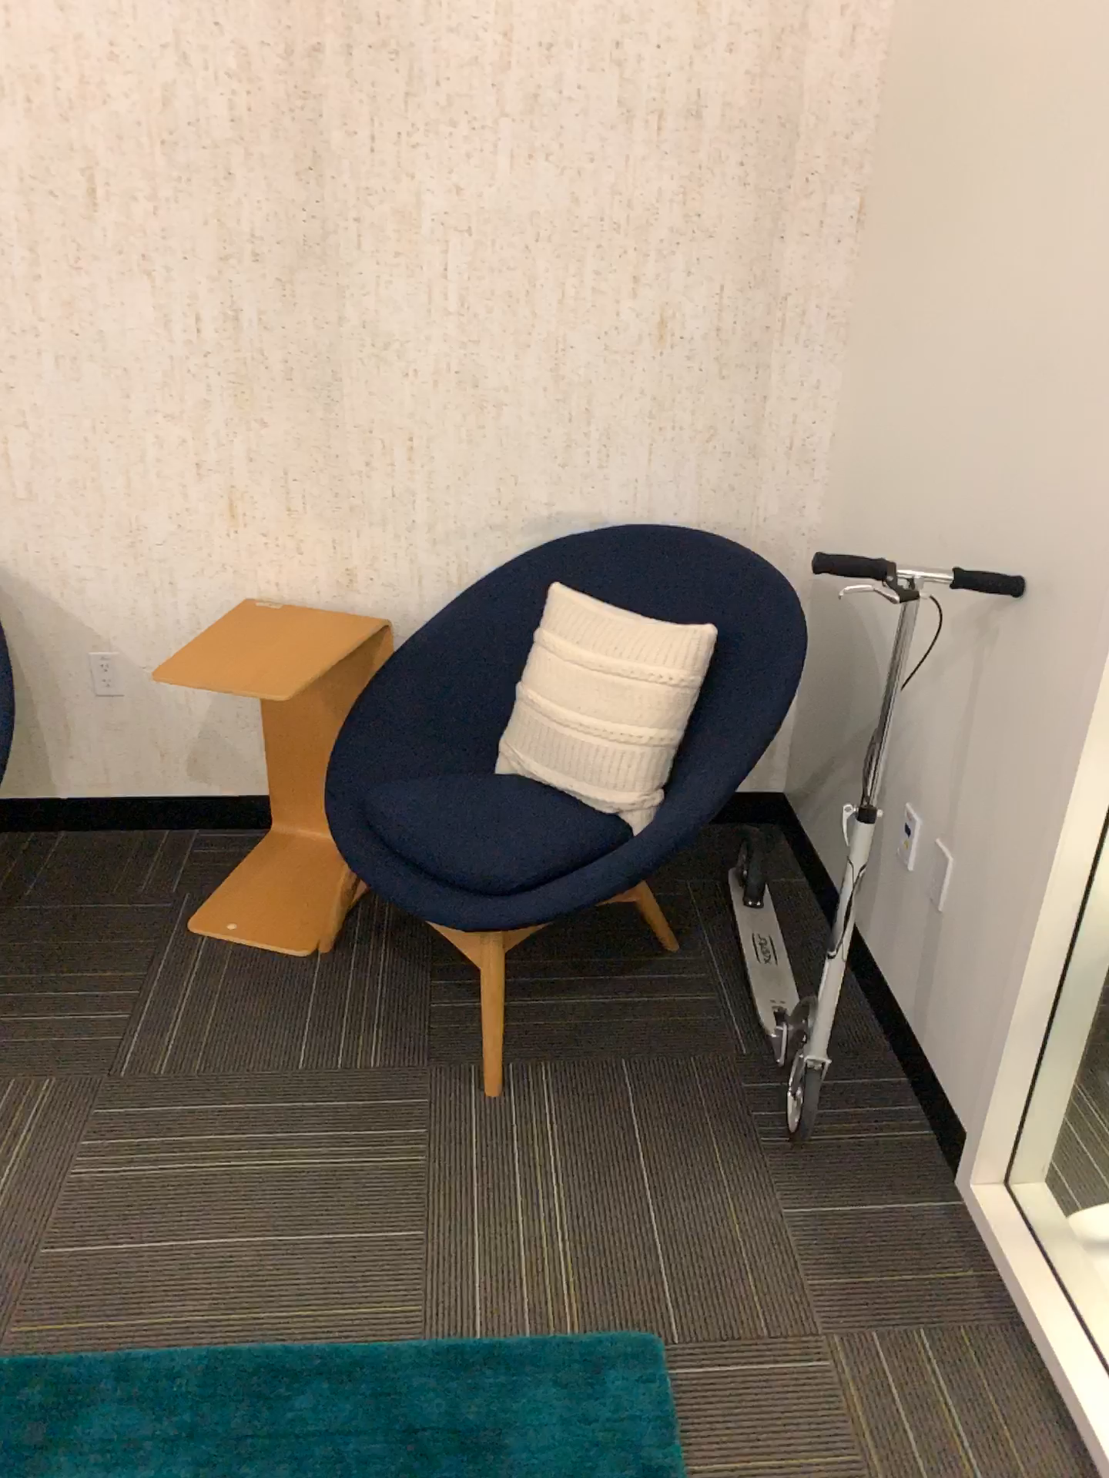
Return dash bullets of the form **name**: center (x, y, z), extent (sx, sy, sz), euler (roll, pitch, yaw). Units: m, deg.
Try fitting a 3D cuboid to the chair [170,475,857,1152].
- **chair**: center (-0.088, 0.031, 2.232), extent (0.881, 0.816, 0.893), euler (-22, 35, -39)
